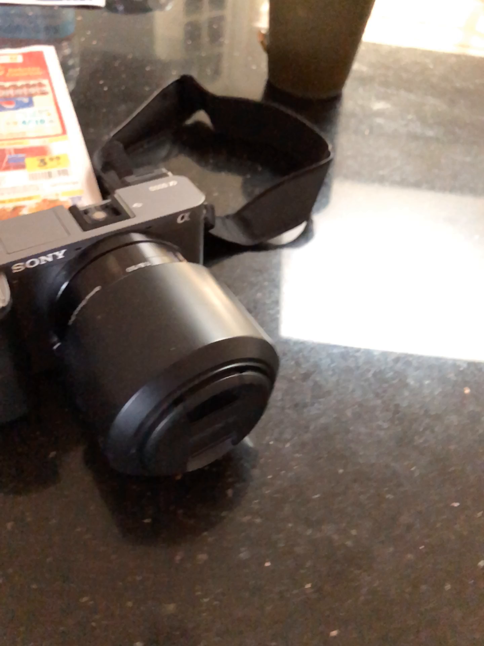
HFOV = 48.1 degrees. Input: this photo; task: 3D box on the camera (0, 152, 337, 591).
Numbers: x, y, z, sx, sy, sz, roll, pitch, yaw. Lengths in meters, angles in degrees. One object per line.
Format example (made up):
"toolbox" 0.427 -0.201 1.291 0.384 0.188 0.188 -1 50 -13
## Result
"camera" -0.055 0.007 0.211 0.130 0.070 0.110 -23 55 -25
